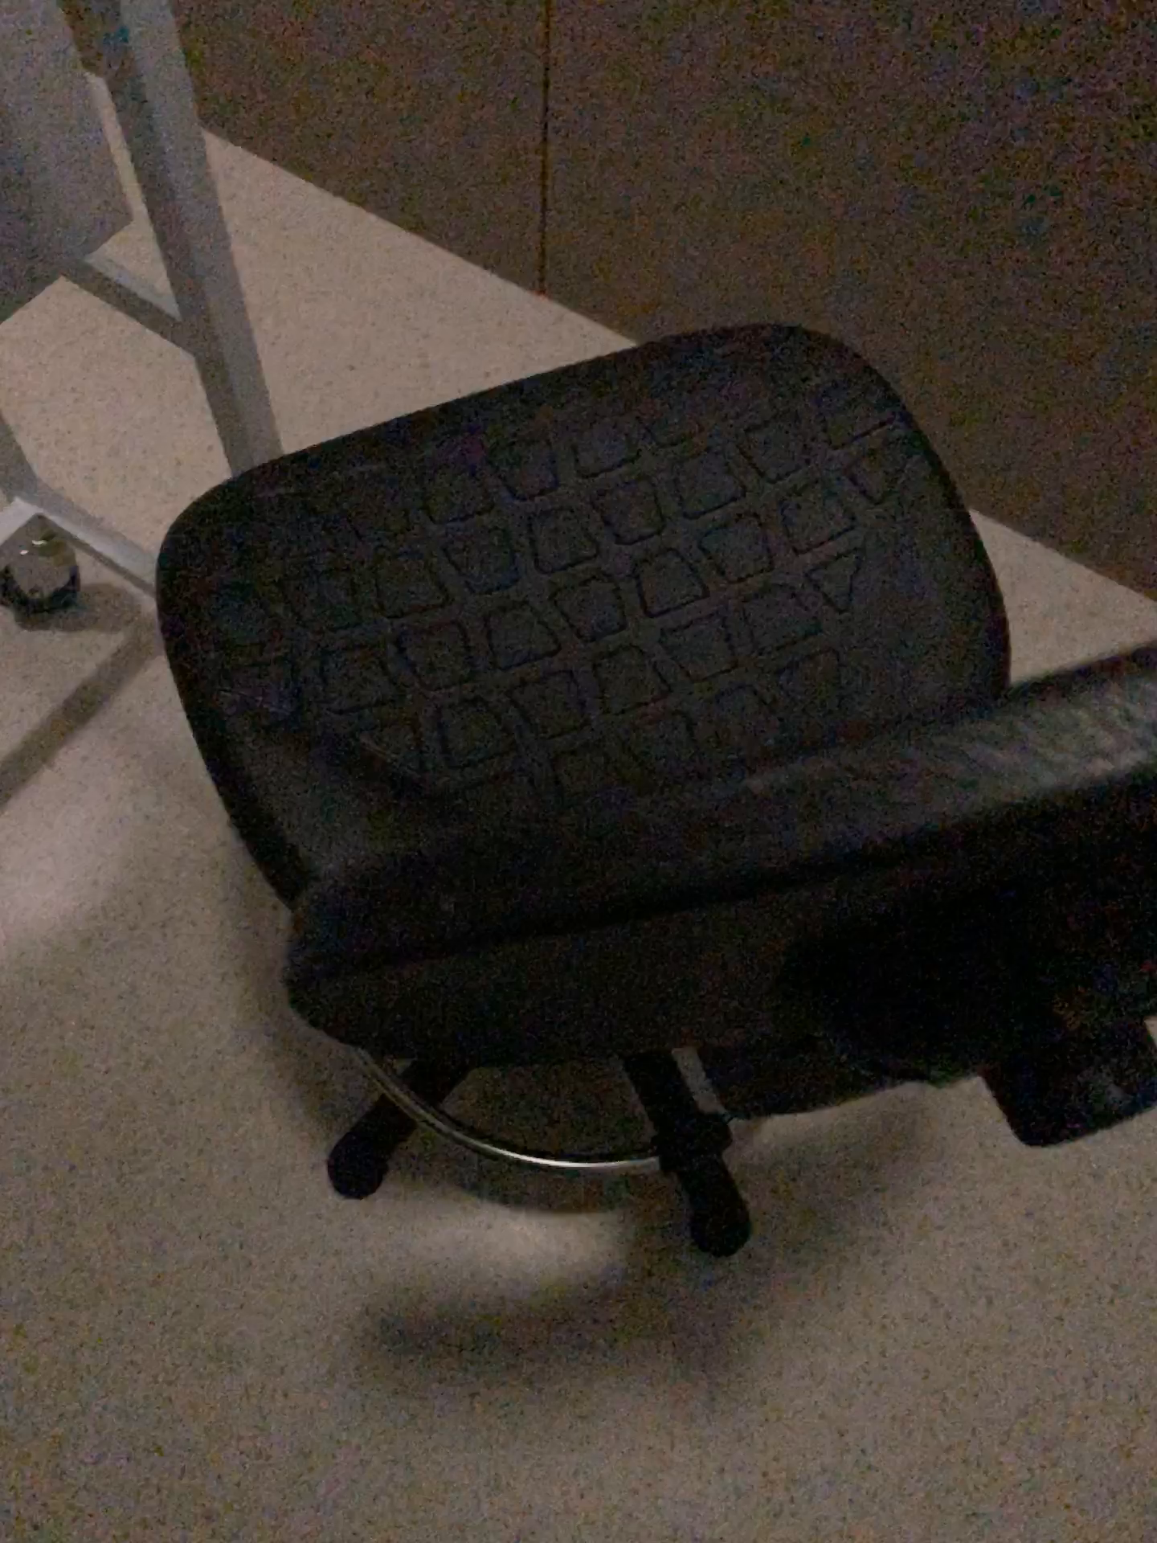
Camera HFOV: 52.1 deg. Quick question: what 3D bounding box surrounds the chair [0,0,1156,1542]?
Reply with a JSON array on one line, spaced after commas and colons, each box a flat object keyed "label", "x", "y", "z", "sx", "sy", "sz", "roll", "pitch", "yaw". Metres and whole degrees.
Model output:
[{"label": "chair", "x": 0.056, "y": -0.066, "z": 0.686, "sx": 0.621, "sy": 0.935, "sz": 0.673, "roll": -19, "pitch": 67, "yaw": -12}]
